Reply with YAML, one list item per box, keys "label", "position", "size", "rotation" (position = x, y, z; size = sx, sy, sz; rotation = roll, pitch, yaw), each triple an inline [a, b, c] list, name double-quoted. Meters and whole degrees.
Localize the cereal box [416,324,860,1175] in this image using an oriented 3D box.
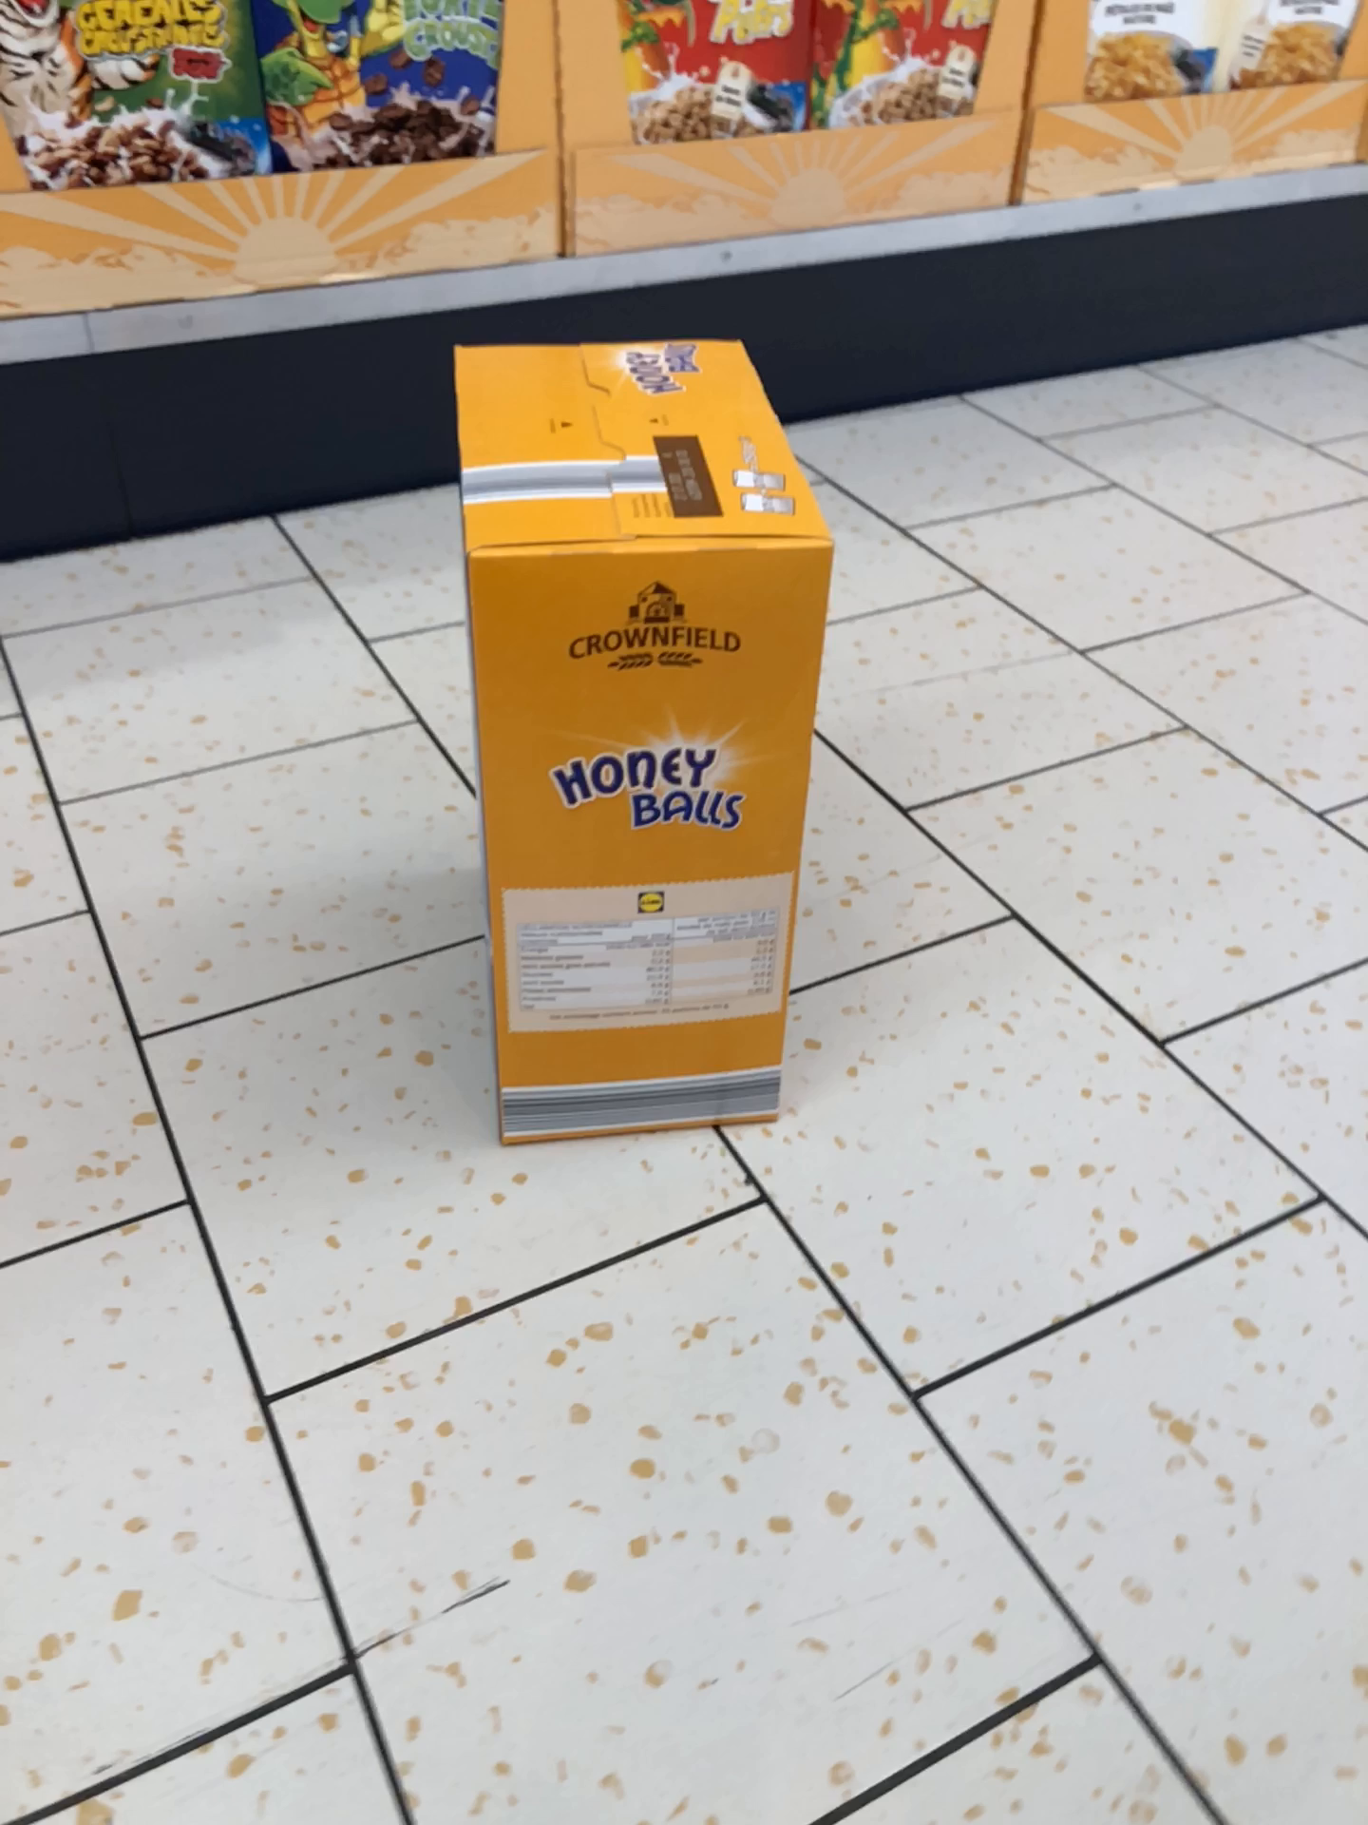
- label: "cereal box"
  position: [-0.029, -0.068, 0.601]
  size: [0.130, 0.258, 0.211]
  rotation: [-3, 38, -7]
